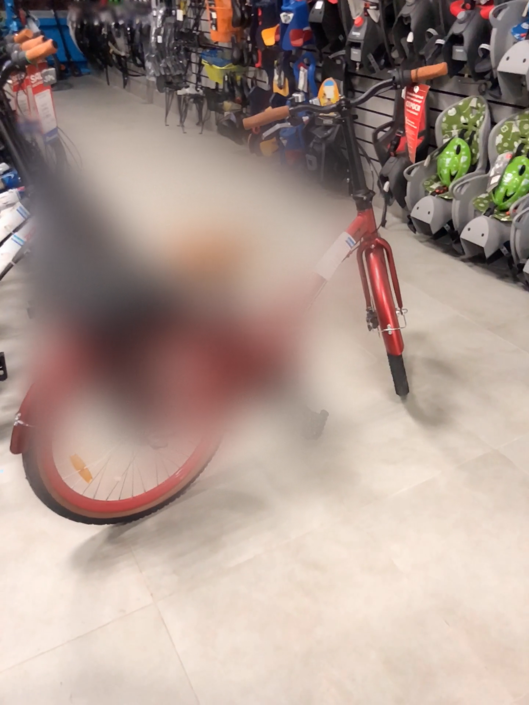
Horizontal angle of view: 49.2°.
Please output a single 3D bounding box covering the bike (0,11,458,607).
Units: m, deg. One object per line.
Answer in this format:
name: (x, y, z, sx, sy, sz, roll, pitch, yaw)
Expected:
bike: (-0.081, -0.306, 1.739, 0.518, 1.110, 1.499, 24, 41, 34)
